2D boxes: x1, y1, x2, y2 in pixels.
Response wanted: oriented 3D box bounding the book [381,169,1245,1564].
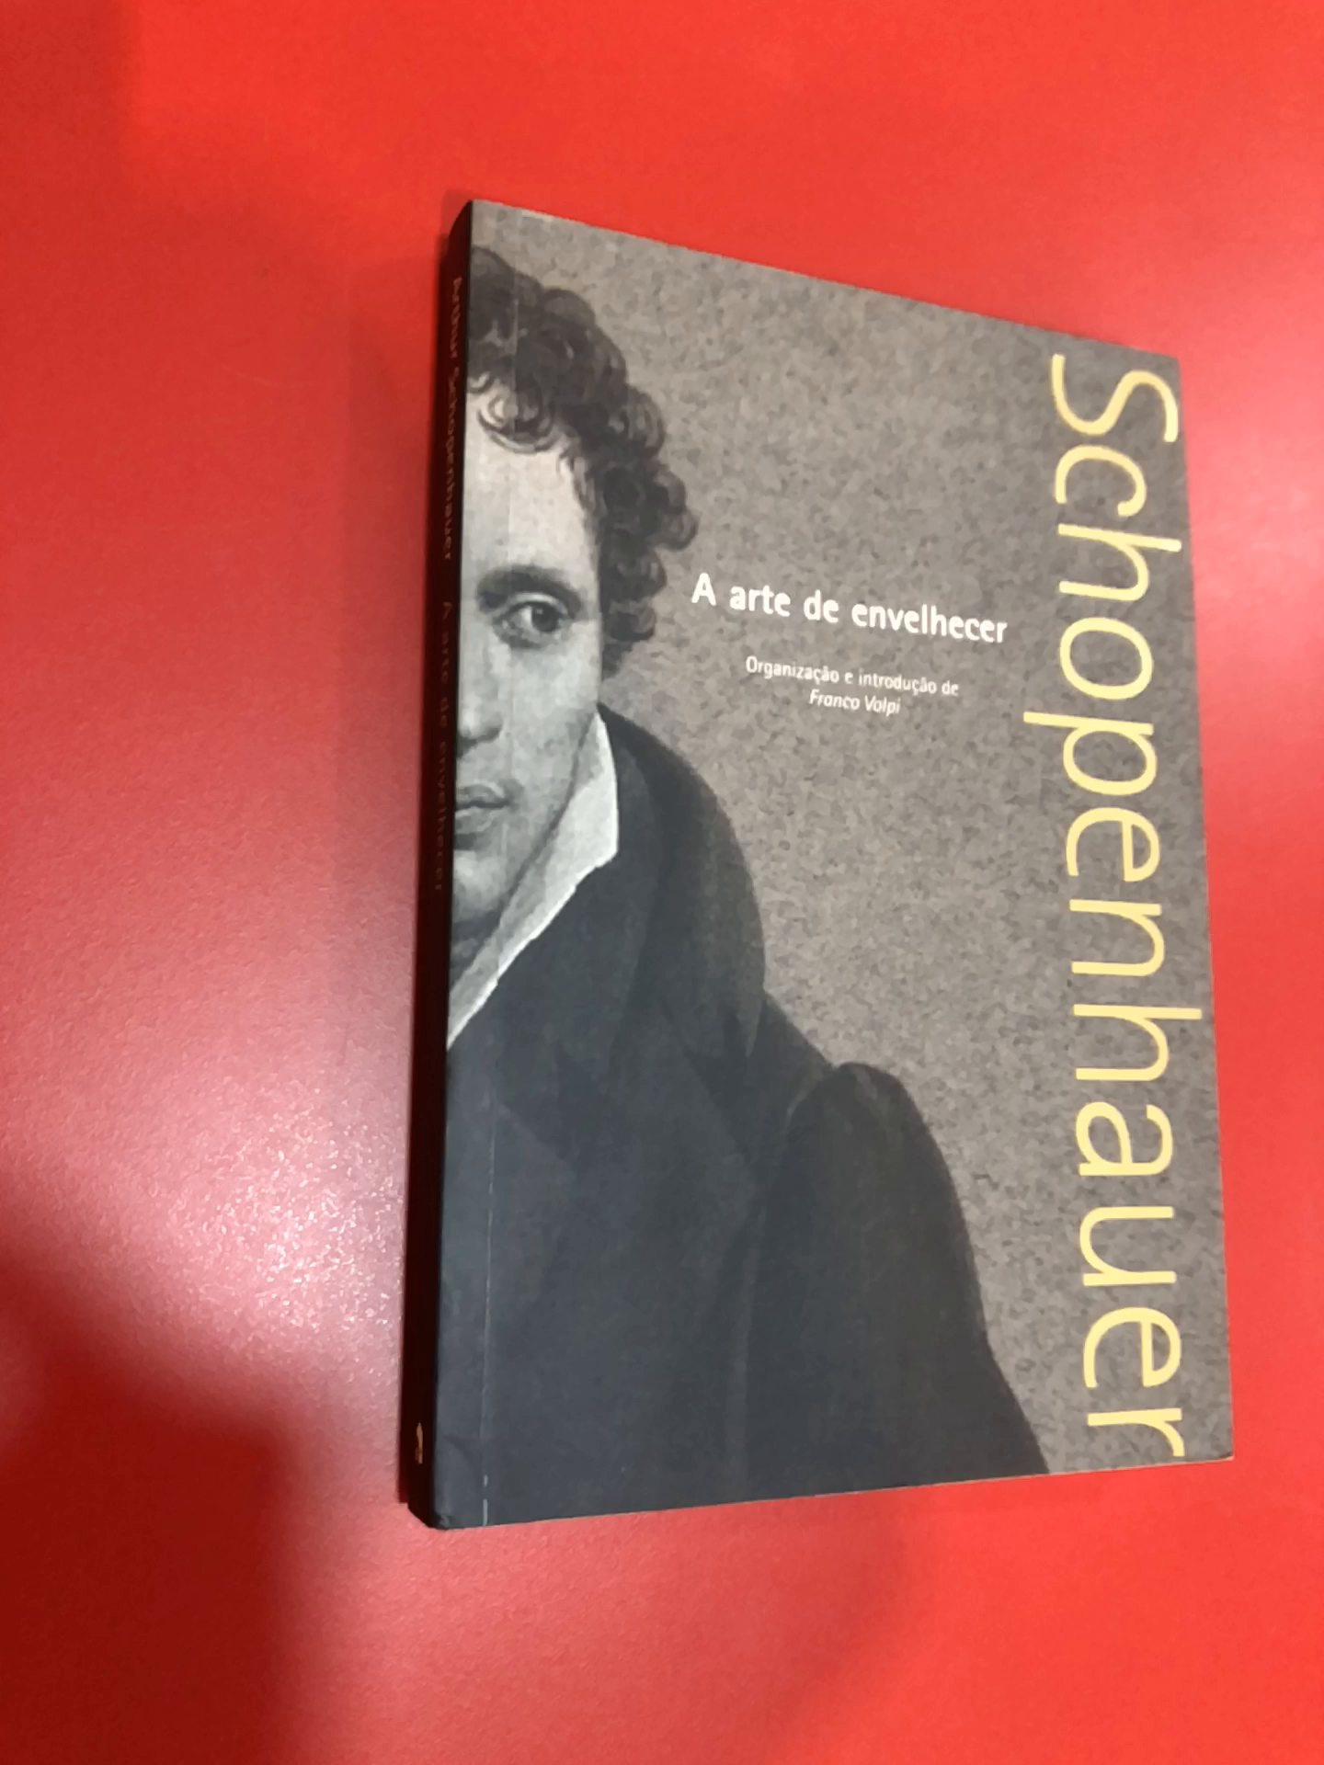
[{"bbox_3d":[0.029,-0.003,0.238,0.137,0.017,0.196,4,82,-20],"label":"book"}]
